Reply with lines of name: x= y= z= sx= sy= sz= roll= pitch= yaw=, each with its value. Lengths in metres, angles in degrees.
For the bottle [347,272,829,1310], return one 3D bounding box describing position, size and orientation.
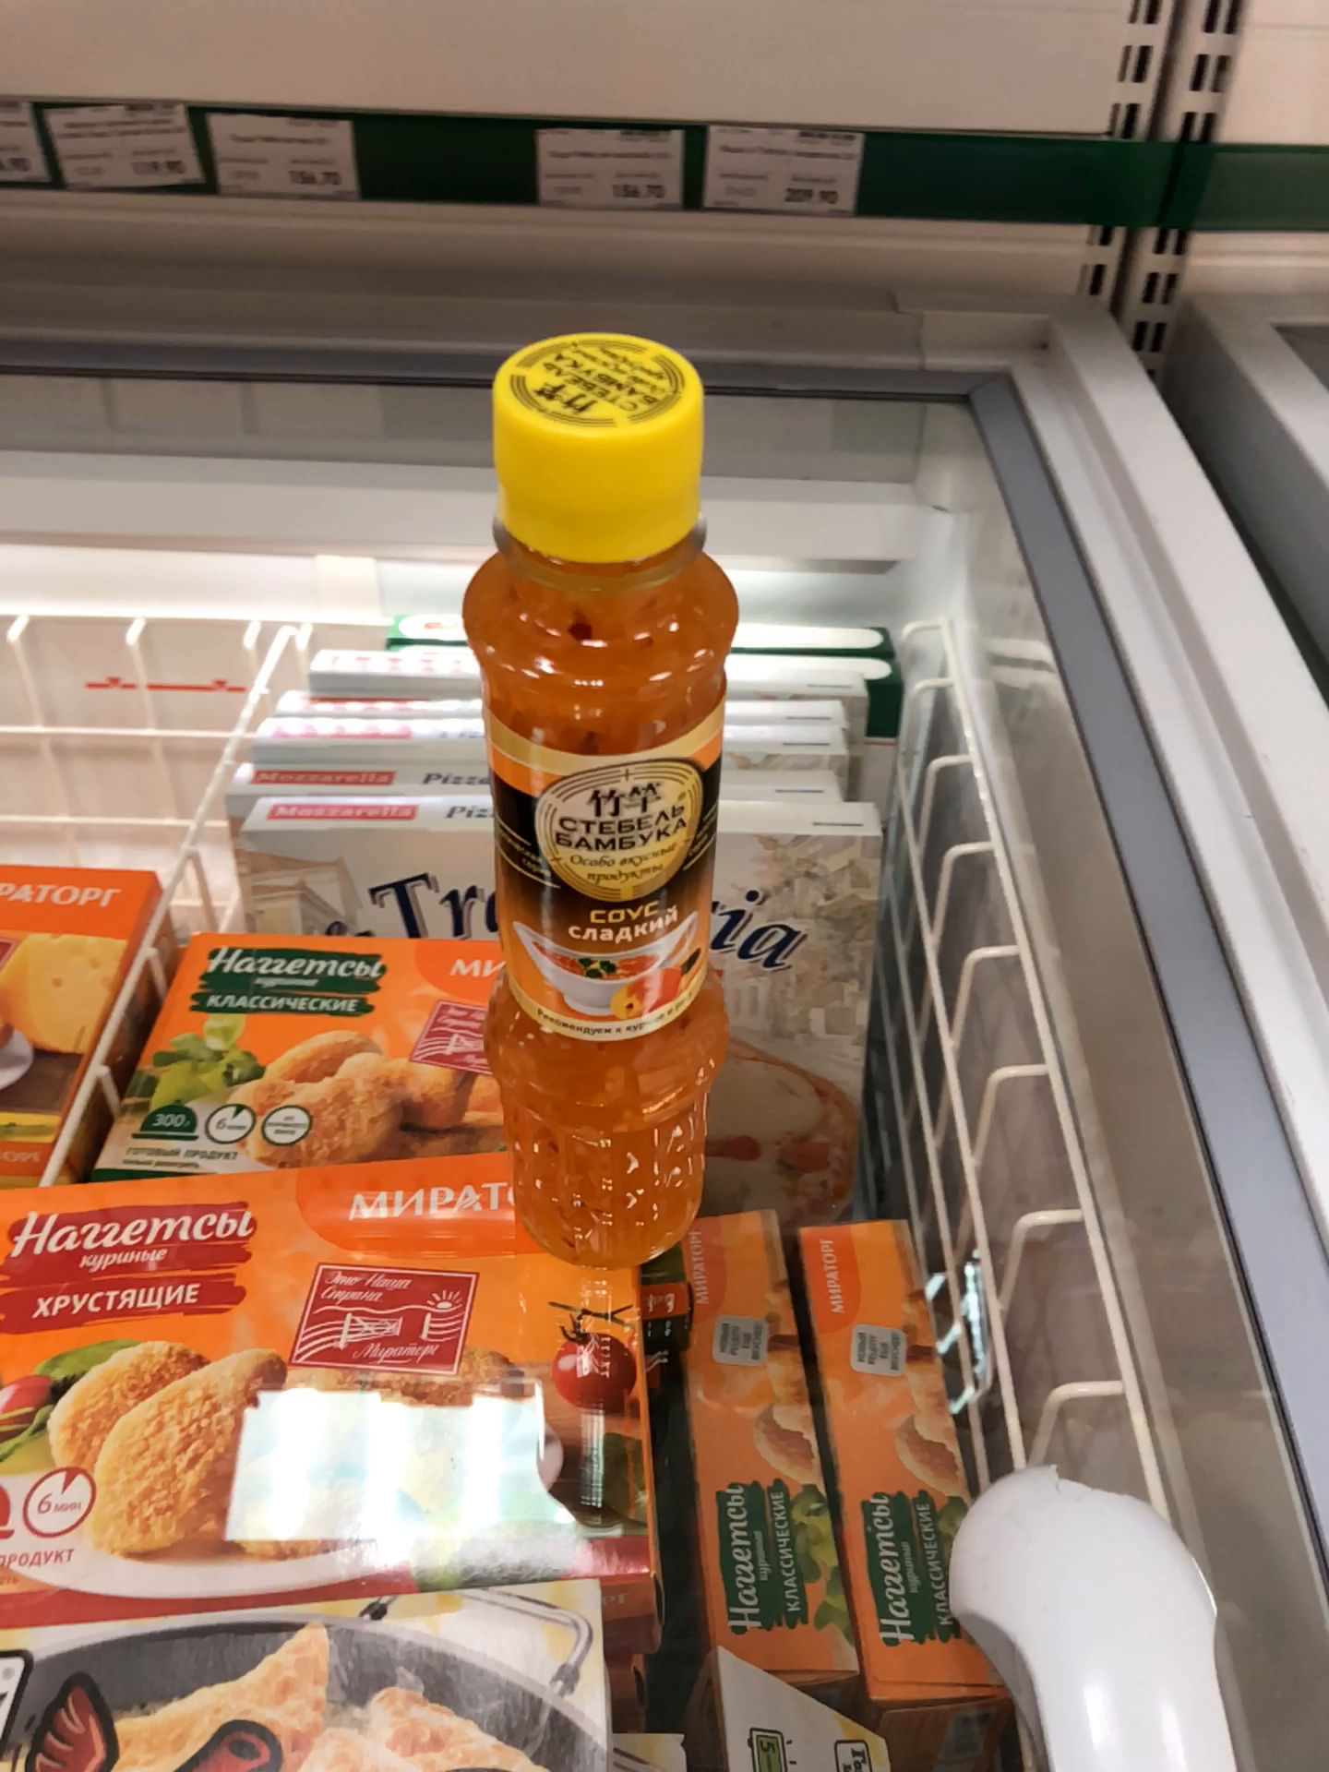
bottle: x=-0.013 y=0.000 z=0.272 sx=0.051 sy=0.201 sz=0.049 roll=1 pitch=46 yaw=-1
